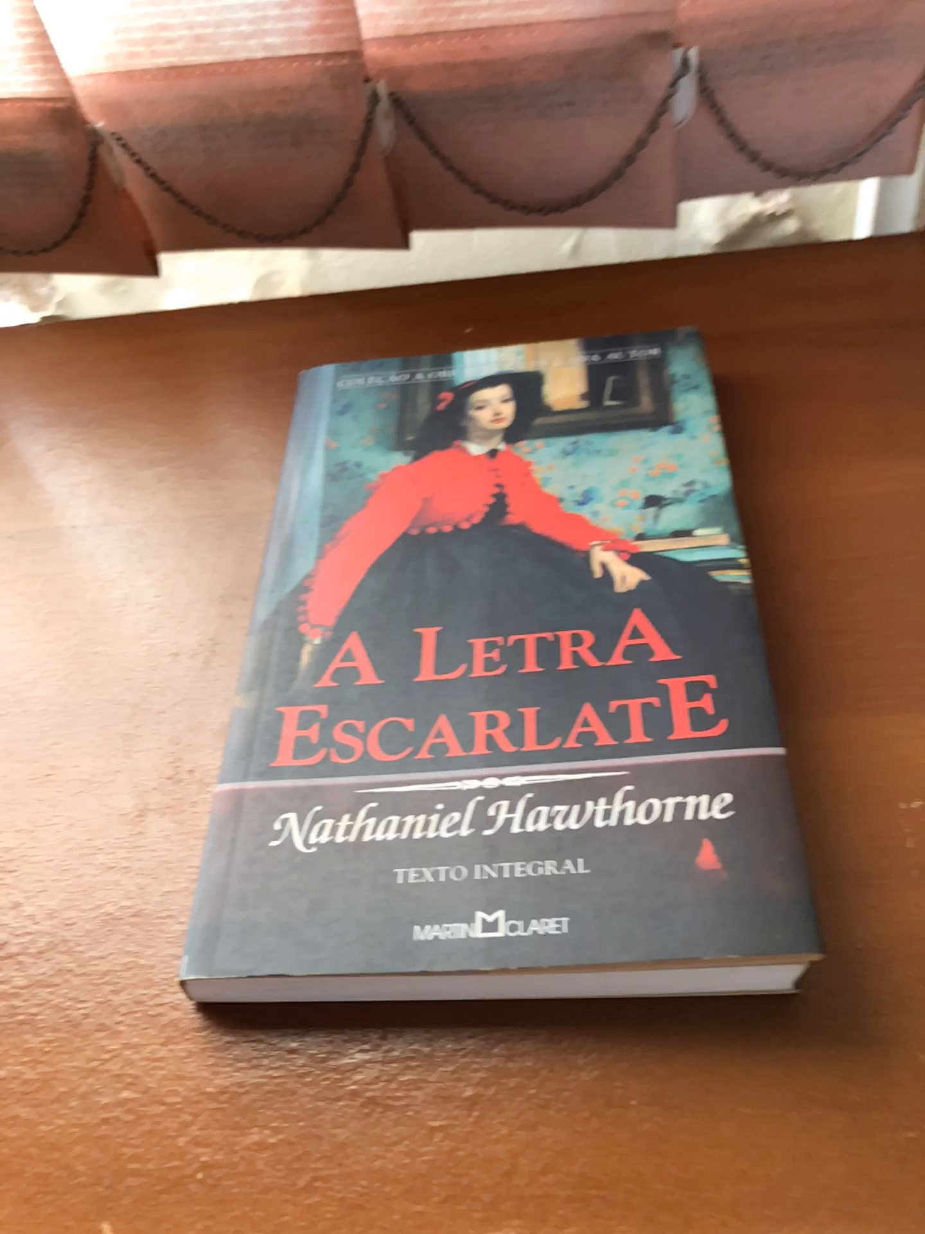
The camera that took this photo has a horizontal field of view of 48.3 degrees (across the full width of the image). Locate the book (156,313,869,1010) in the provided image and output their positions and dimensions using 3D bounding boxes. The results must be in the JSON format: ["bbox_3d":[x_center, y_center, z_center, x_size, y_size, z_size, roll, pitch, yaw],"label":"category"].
[{"bbox_3d":[0.009,-0.004,0.220,0.111,0.015,0.167,-4,49,8],"label":"book"}]
